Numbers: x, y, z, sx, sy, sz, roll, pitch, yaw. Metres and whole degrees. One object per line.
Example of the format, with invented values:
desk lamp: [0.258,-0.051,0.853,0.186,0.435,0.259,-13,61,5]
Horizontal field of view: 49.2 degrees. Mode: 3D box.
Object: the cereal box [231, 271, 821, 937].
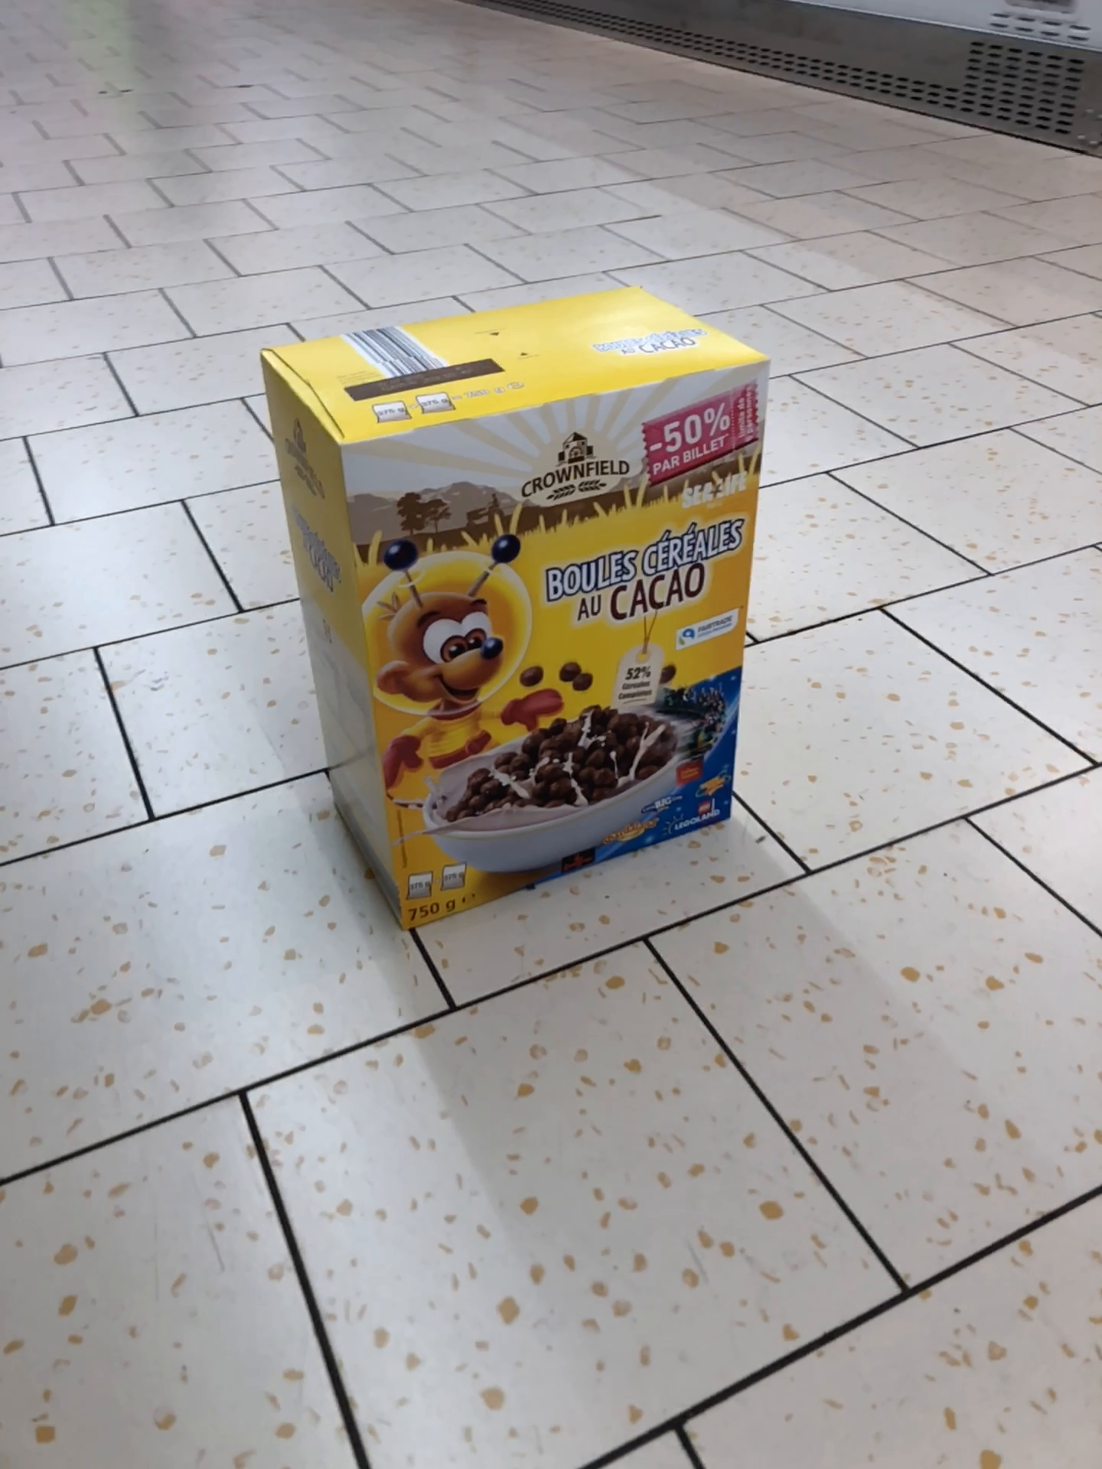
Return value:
cereal box: [-0.011,-0.066,0.568,0.211,0.239,0.130,-16,38,-20]
